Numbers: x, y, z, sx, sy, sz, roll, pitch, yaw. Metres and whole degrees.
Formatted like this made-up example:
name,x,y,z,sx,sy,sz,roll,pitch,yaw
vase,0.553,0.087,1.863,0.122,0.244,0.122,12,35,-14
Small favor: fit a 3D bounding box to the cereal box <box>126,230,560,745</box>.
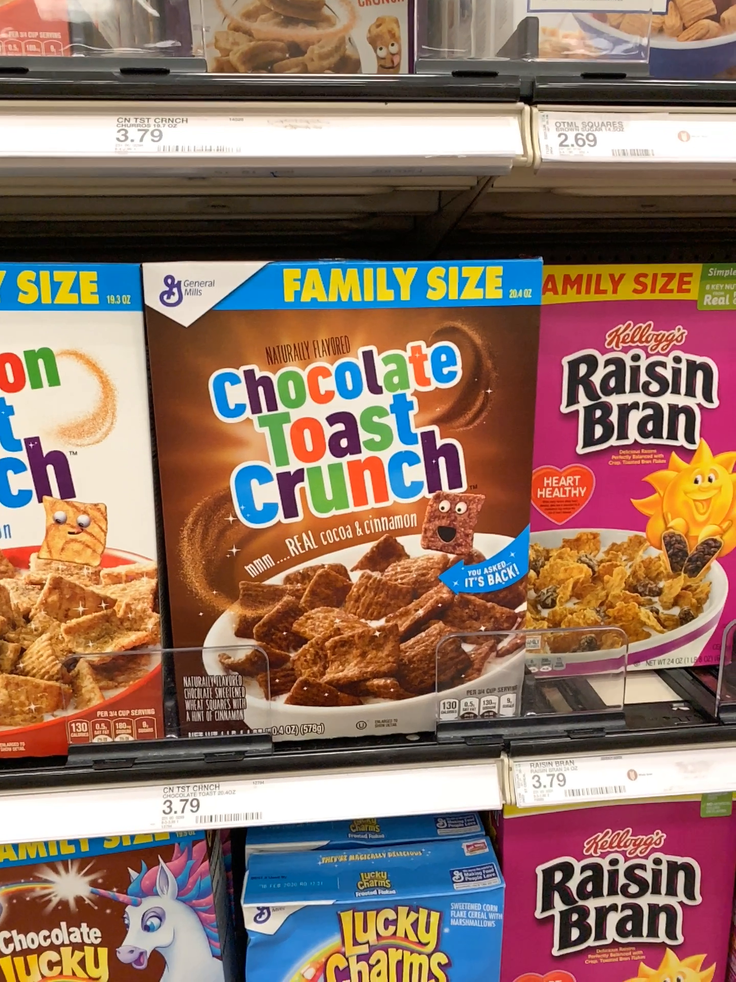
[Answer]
name,x,y,z,sx,sy,sz,roll,pitch,yaw
cereal box,-0.011,-0.001,0.485,0.240,0.309,0.060,-2,14,-5
